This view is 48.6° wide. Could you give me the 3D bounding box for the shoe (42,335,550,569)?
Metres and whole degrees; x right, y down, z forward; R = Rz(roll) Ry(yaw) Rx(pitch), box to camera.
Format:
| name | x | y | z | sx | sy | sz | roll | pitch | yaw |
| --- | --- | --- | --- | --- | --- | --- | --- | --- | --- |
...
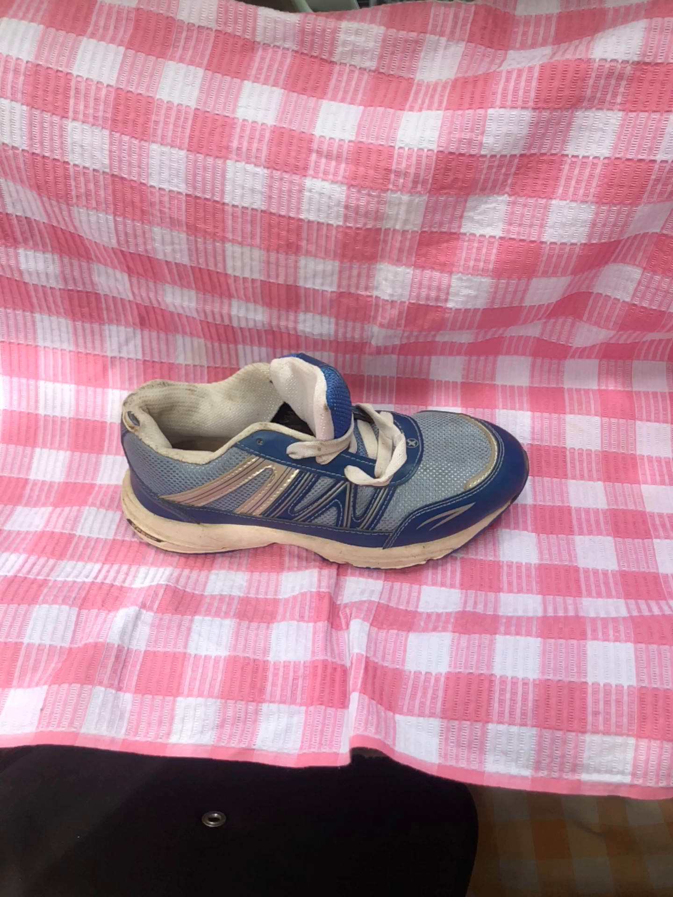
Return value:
| name | x | y | z | sx | sy | sz | roll | pitch | yaw |
| --- | --- | --- | --- | --- | --- | --- | --- | --- | --- |
| shoe | -0.020 | -0.001 | 0.482 | 0.280 | 0.100 | 0.111 | 1 | 41 | 5 |
